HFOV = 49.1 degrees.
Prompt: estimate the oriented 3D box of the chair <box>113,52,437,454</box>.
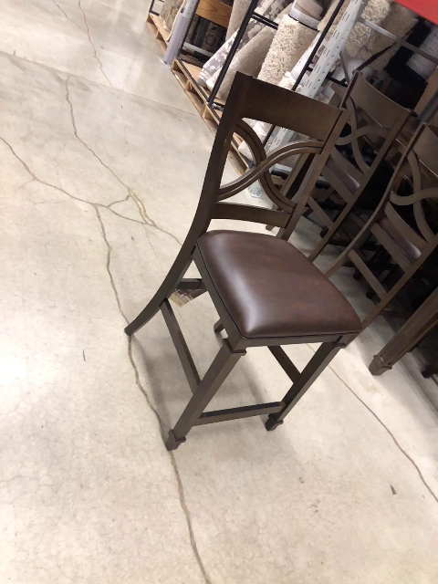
[{"bbox_3d":[0.126,-0.070,1.580,0.492,1.026,0.650,2,44,-36],"label":"chair"}]
